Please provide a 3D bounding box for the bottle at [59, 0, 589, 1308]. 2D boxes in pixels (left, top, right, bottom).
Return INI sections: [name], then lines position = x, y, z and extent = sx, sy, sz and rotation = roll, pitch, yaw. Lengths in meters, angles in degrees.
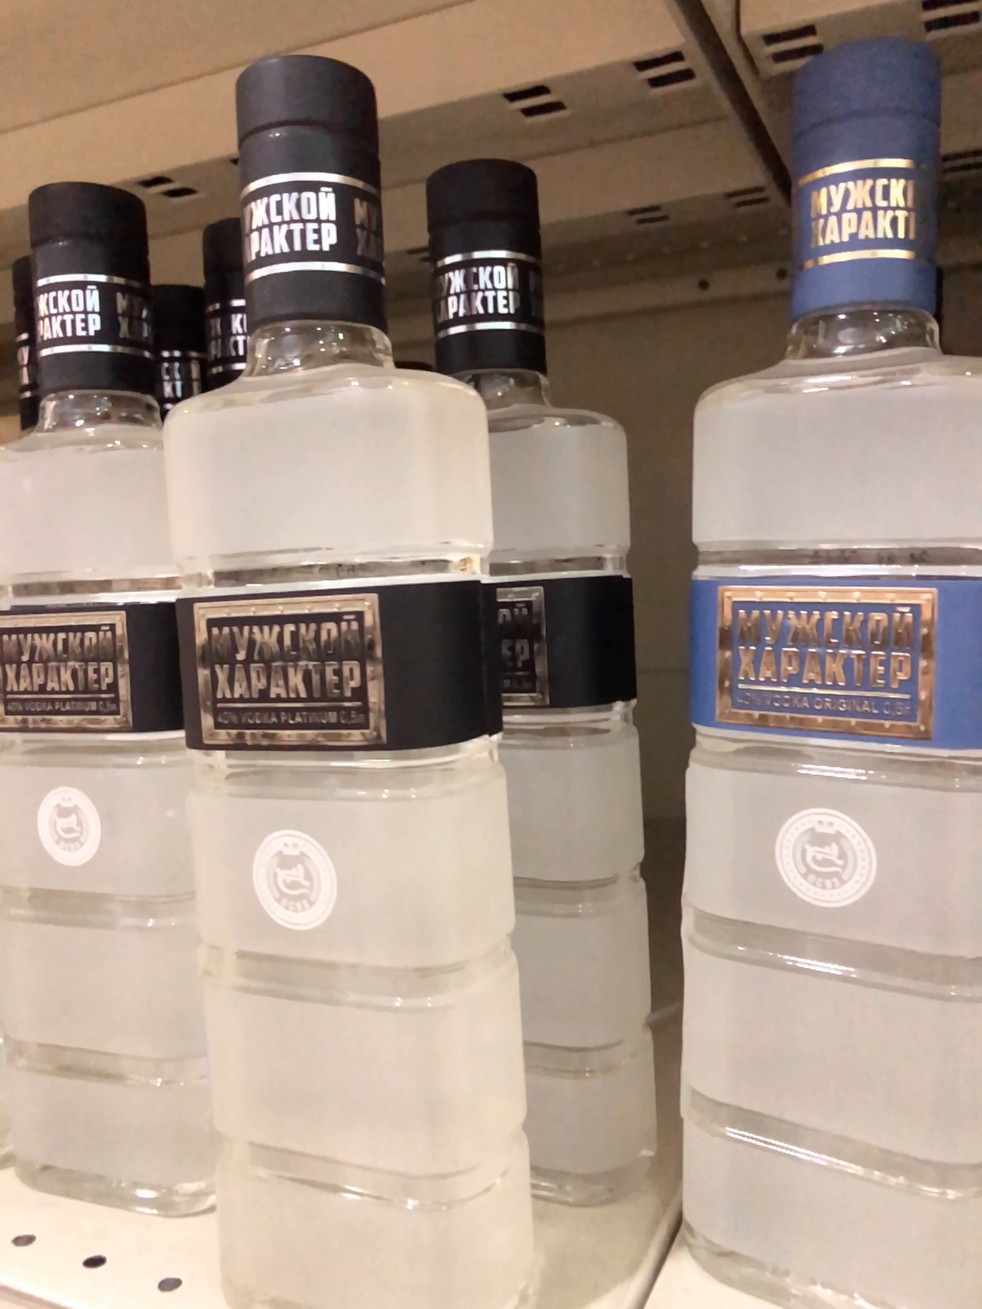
[bottle]
position = -0.035, 0.010, 0.255
extent = 0.090, 0.290, 0.060
rotation = -1, 4, 24
